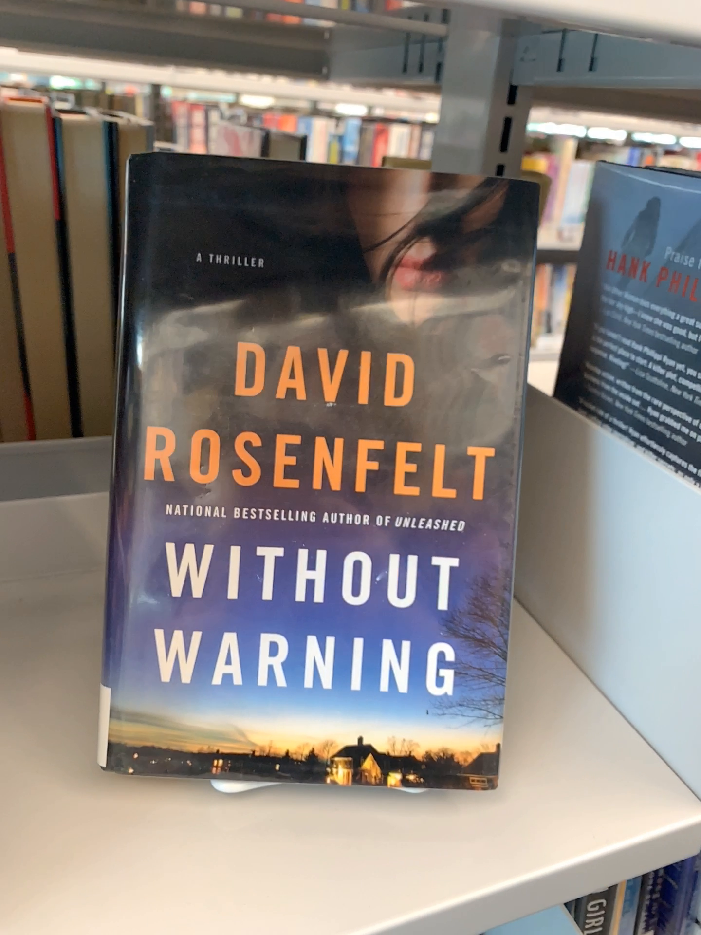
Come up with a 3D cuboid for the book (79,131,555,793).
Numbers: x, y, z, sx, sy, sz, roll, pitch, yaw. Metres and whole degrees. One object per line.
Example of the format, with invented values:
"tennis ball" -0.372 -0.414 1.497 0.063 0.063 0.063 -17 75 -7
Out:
"book" -0.014 0.002 0.283 0.157 0.230 0.035 4 4 -3
